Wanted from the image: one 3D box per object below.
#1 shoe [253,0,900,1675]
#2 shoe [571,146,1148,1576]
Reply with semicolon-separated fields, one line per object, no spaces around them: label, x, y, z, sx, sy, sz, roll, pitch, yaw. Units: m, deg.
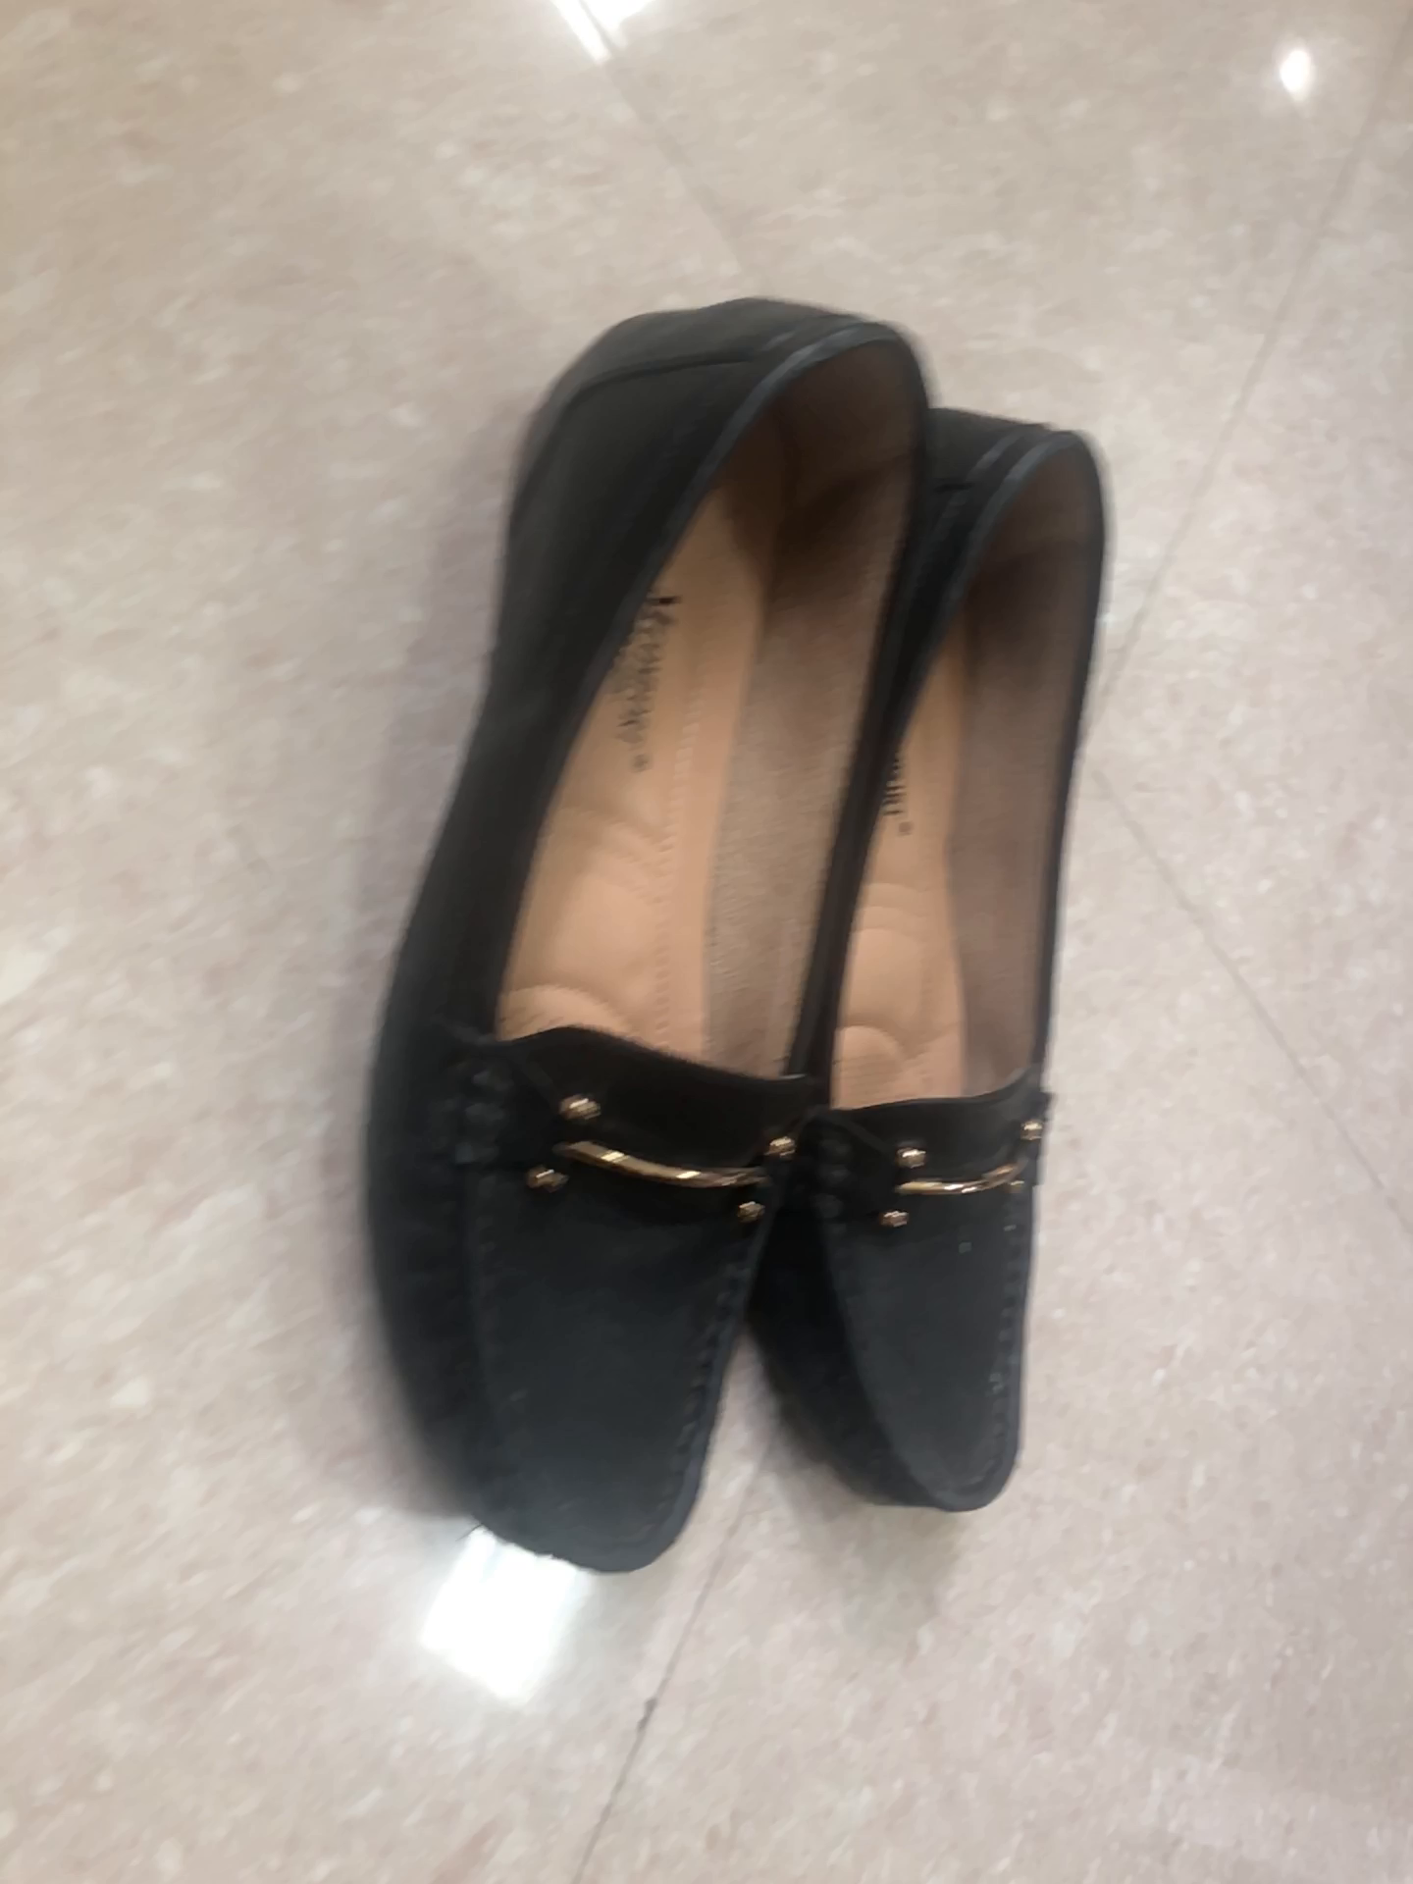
shoe;-0.022;-0.025;0.340;0.100;0.080;0.310;10;77;-42
shoe;0.037;-0.018;0.400;0.100;0.080;0.310;2;83;-43
